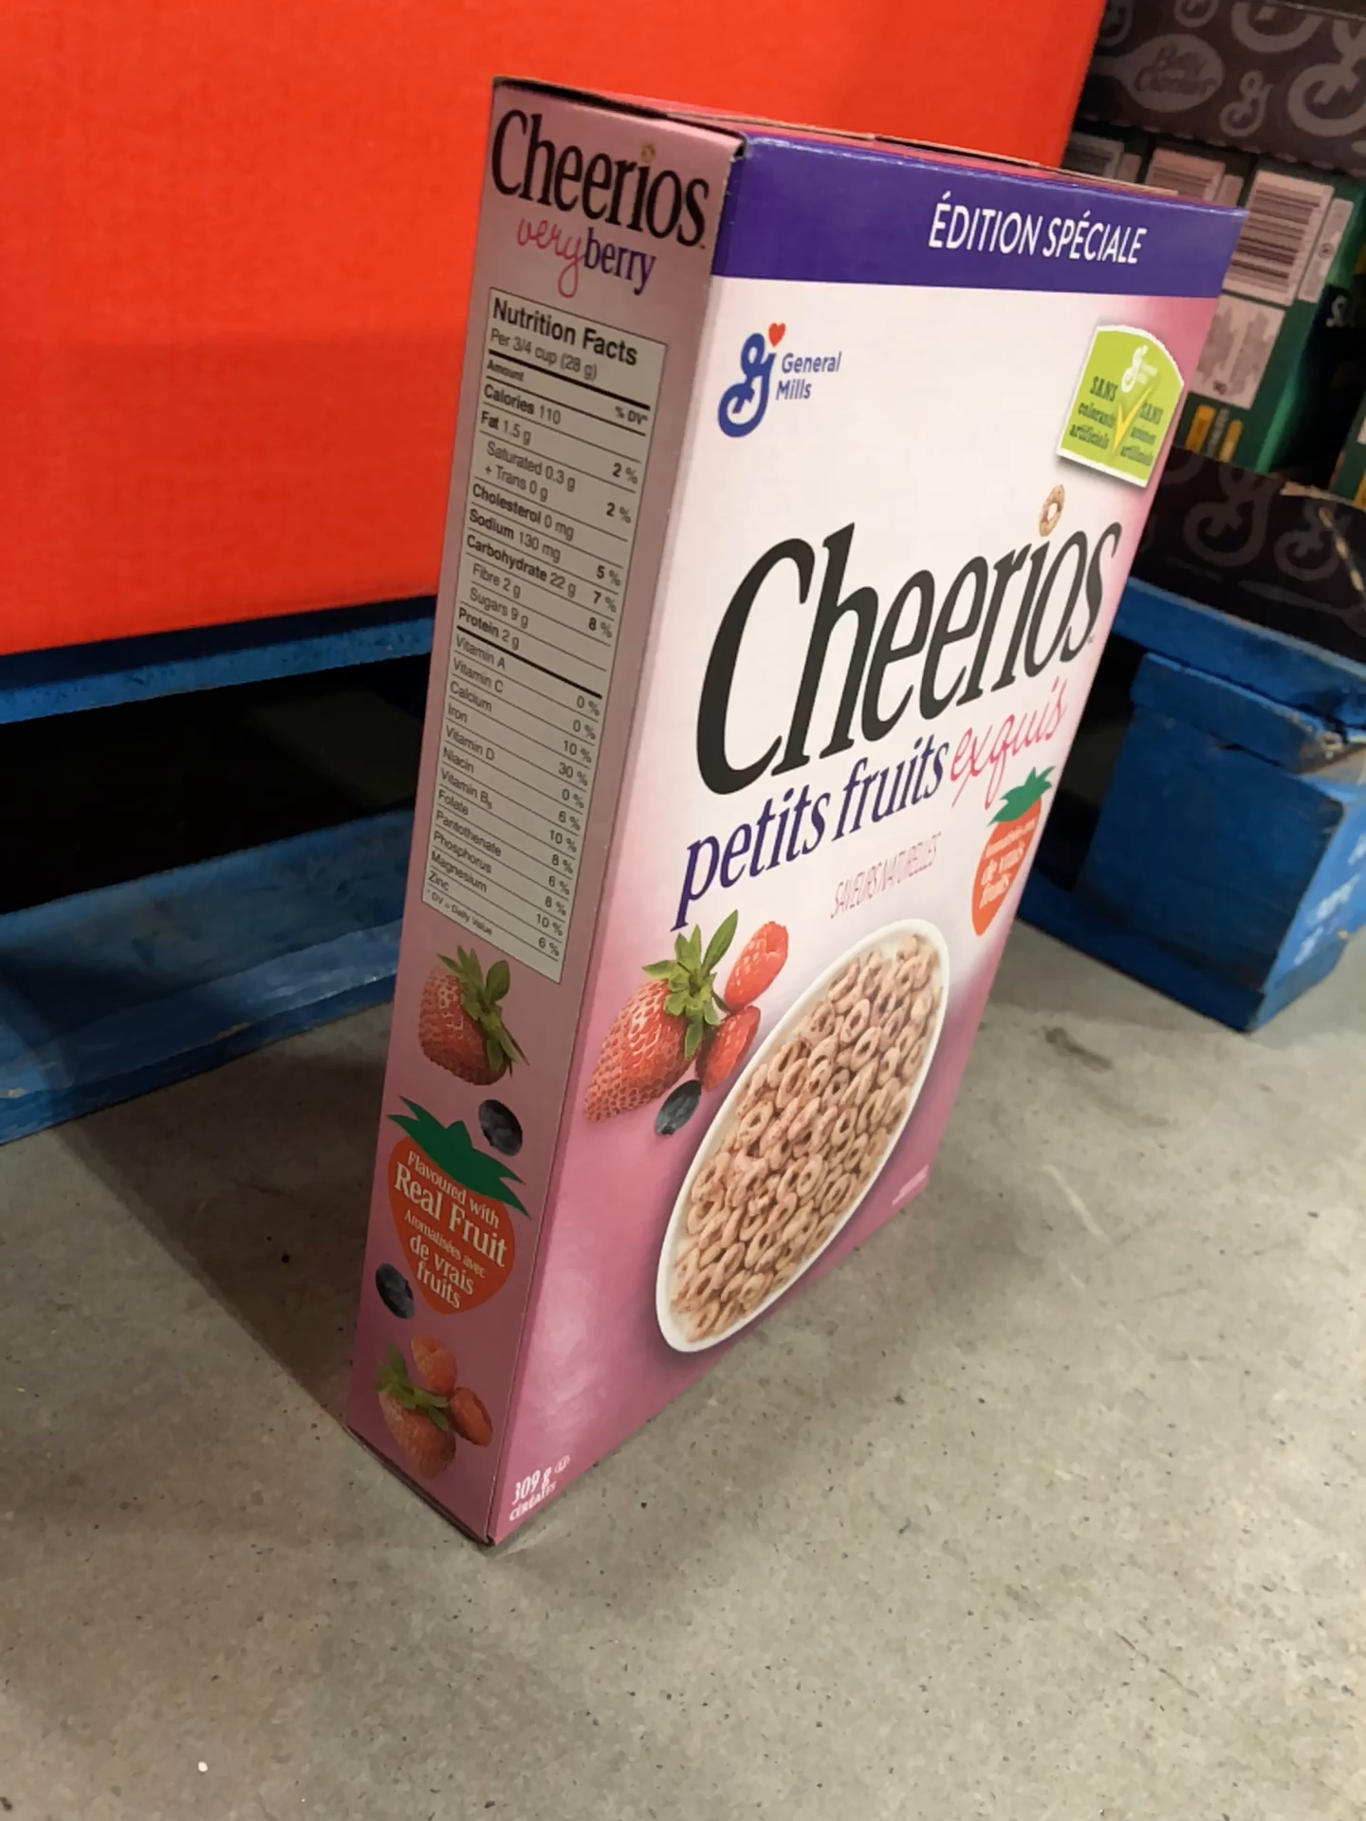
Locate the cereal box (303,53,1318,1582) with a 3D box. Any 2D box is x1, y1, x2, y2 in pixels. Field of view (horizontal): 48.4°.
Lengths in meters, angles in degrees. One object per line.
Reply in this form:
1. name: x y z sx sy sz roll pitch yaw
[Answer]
1. cereal box: 0.030 -0.021 0.352 0.060 0.279 0.221 30 33 29
